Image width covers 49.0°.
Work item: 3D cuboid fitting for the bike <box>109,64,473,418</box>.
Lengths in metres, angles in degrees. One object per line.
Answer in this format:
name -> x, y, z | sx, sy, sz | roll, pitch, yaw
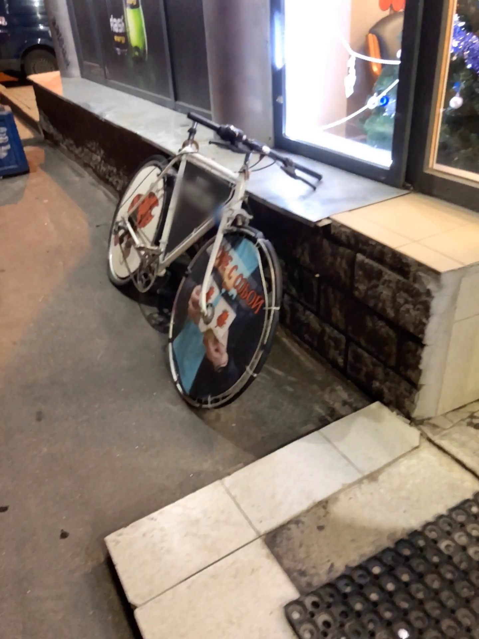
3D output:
bike -> 0.027, -0.483, 2.180 | 0.569, 0.917, 1.593 | -17, 33, -21
